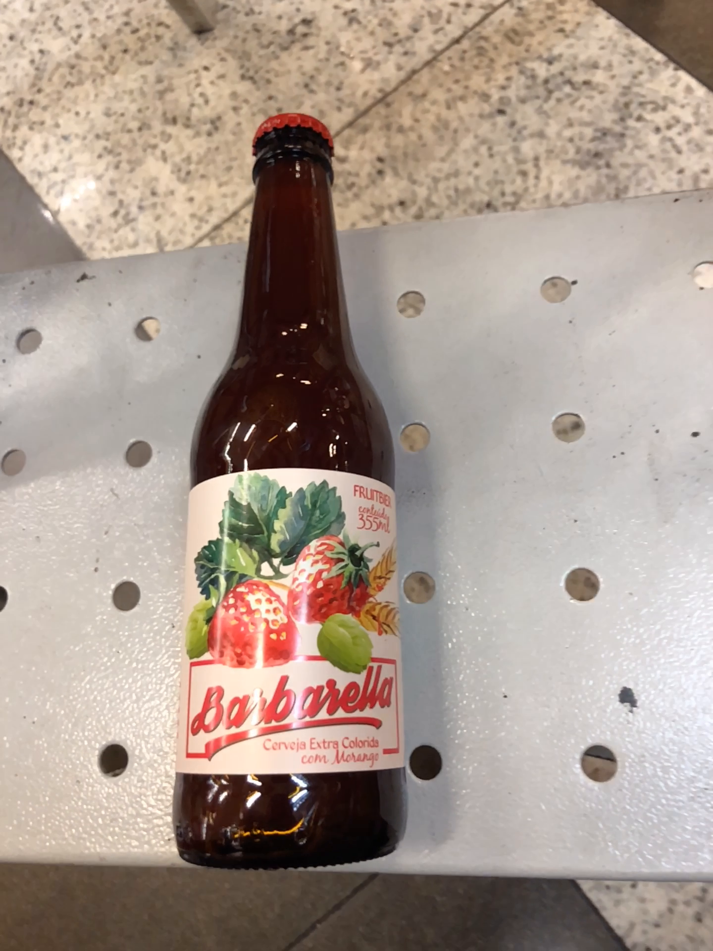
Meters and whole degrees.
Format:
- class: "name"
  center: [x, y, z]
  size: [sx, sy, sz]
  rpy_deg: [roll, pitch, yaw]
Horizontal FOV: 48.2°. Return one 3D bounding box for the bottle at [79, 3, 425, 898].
- class: "bottle"
  center: [-0.026, -0.016, 0.235]
  size: [0.070, 0.060, 0.240]
  rpy_deg: [-6, 71, 9]
